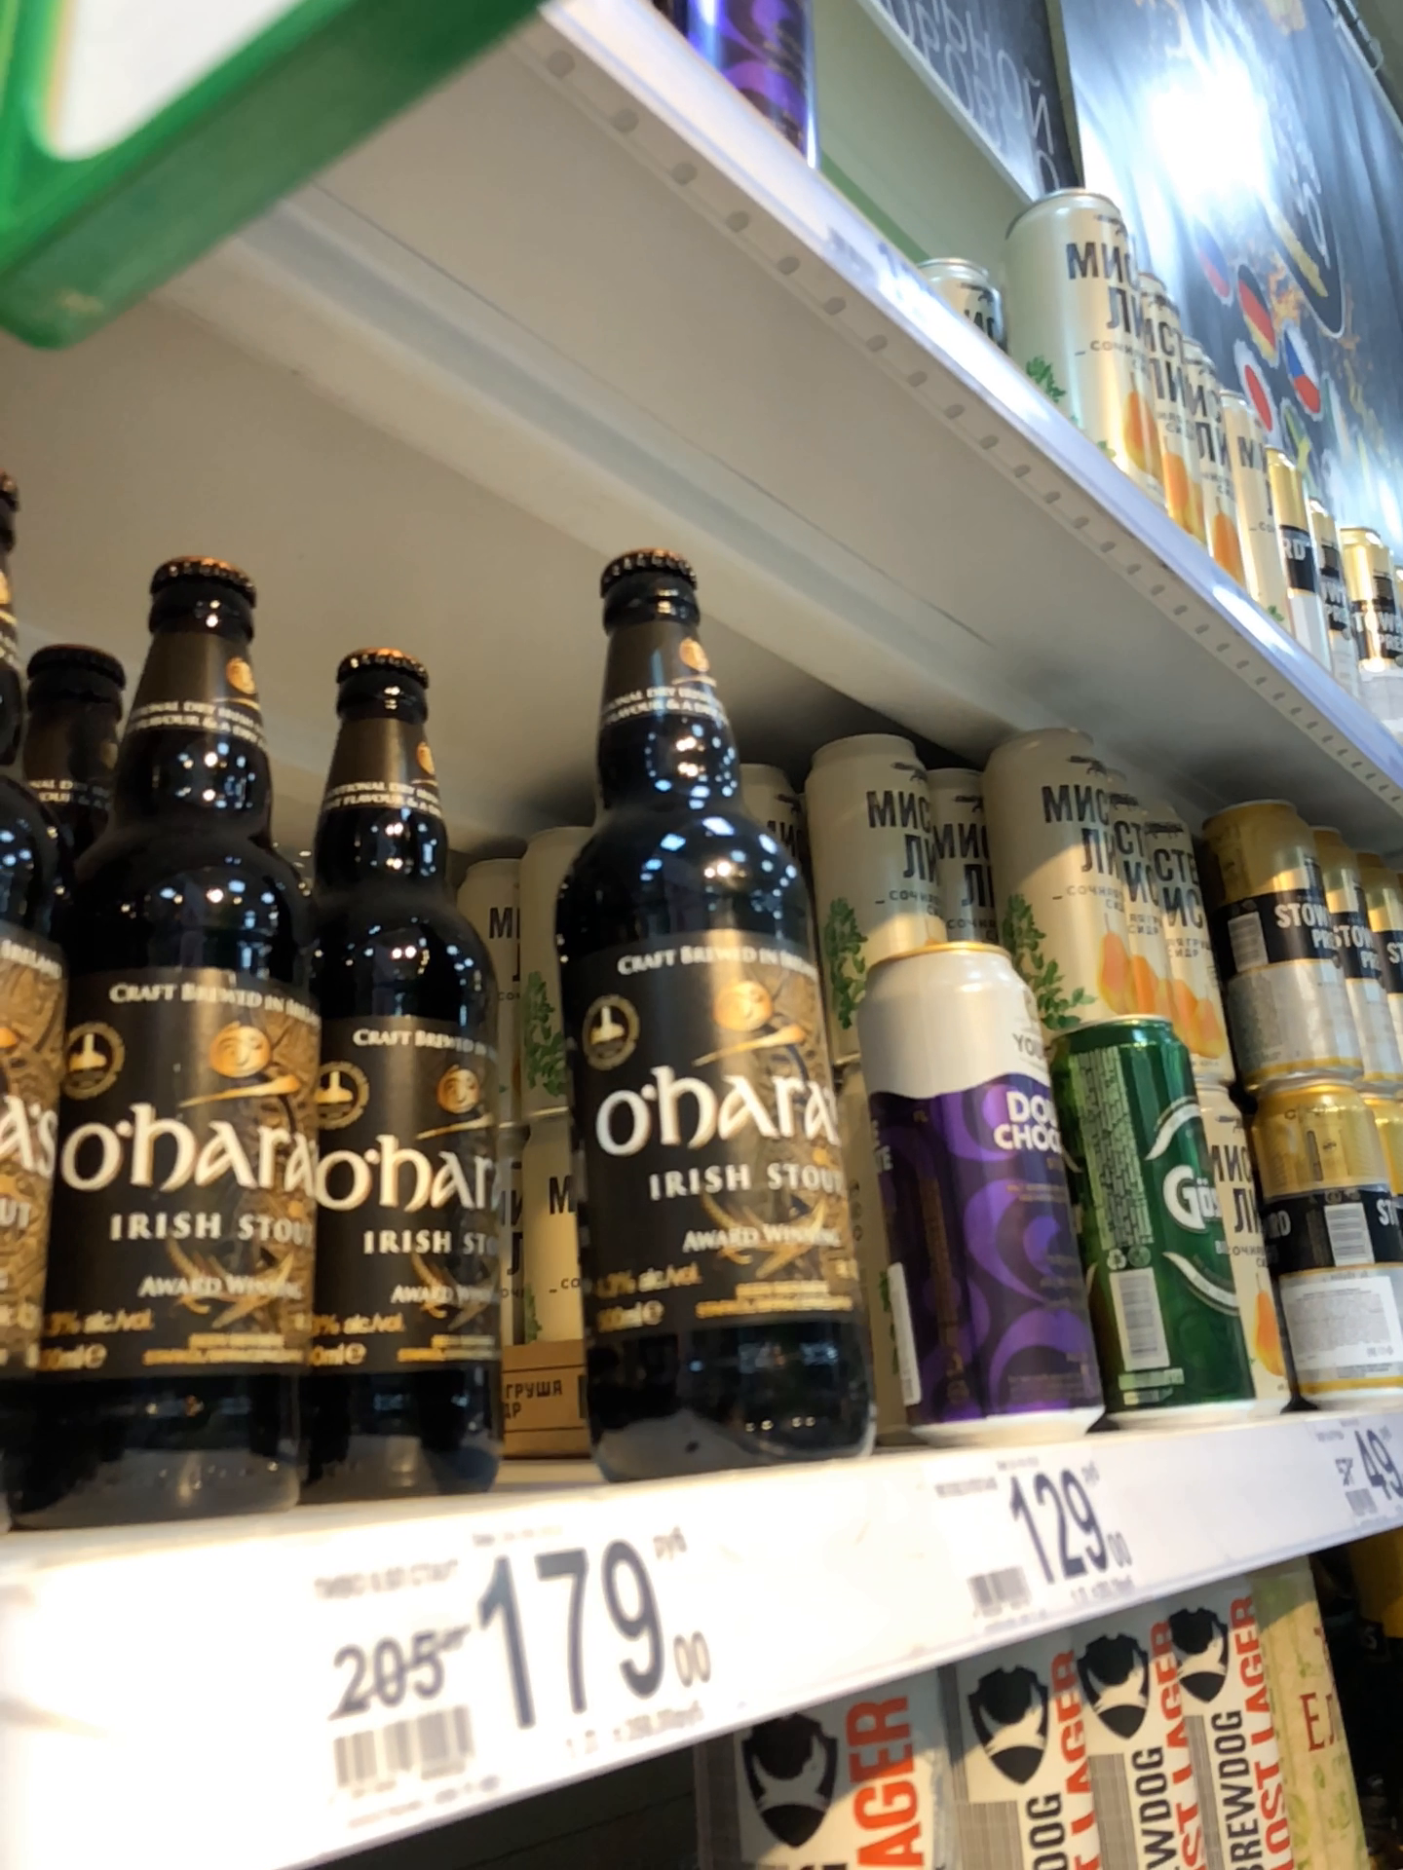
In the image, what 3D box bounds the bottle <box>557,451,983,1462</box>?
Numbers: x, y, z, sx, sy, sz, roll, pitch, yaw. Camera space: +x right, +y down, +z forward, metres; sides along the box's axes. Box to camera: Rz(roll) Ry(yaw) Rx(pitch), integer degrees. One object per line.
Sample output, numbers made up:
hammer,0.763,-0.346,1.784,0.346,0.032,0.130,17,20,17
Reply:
bottle,0.011,0.006,0.394,0.070,0.241,0.070,-2,-18,-1
